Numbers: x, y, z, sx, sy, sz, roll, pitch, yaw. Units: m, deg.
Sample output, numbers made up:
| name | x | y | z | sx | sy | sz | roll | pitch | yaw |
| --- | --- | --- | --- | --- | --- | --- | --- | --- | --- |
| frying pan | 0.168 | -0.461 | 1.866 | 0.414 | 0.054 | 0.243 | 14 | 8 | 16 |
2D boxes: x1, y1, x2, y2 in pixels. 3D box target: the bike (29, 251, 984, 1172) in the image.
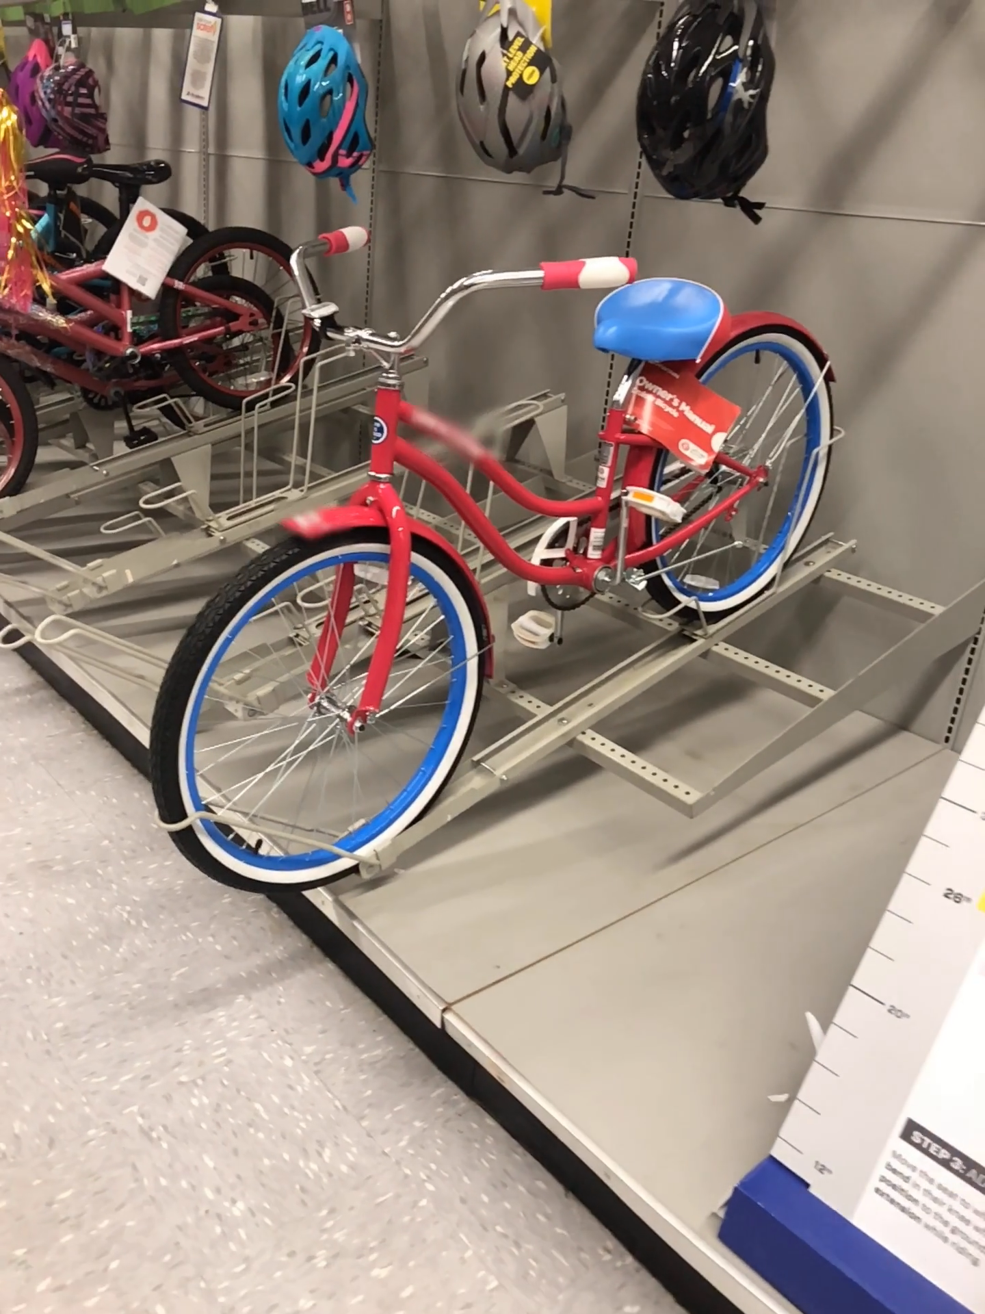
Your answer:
| name | x | y | z | sx | sy | sz | roll | pitch | yaw |
| --- | --- | --- | --- | --- | --- | --- | --- | --- | --- |
| bike | 0.084 | -0.123 | 2.011 | 1.609 | 0.676 | 0.813 | -29 | 39 | -31 |
